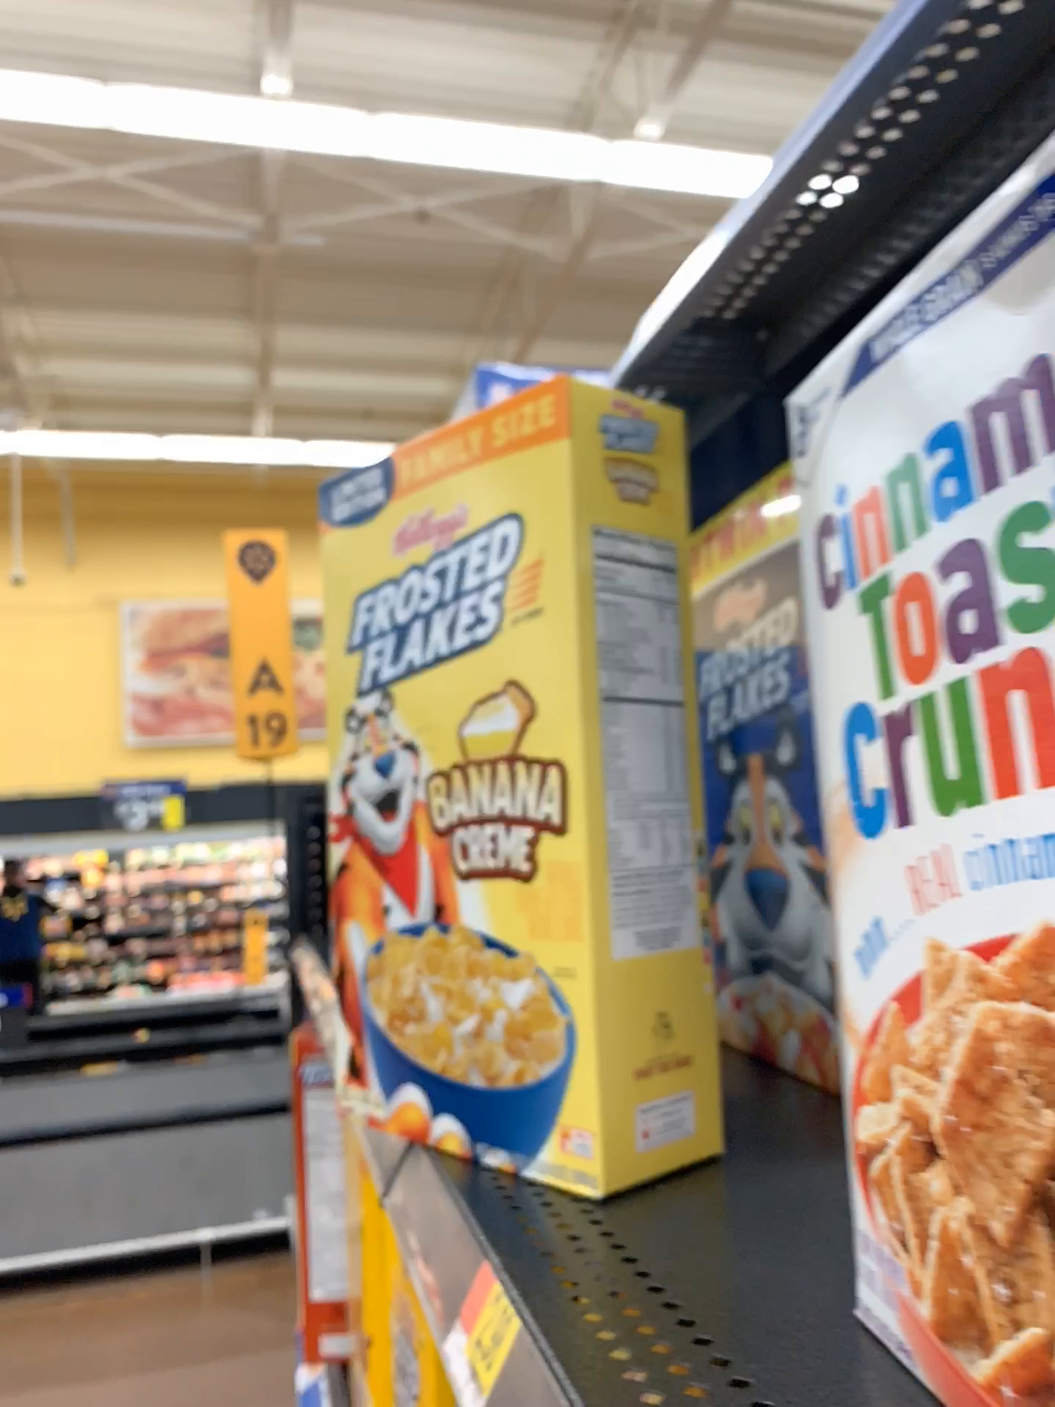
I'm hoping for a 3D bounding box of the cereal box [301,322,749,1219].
[{"bbox_3d":[-0.014,0.029,0.521,0.080,0.341,0.200,3,-8,-43],"label":"cereal box"}]
